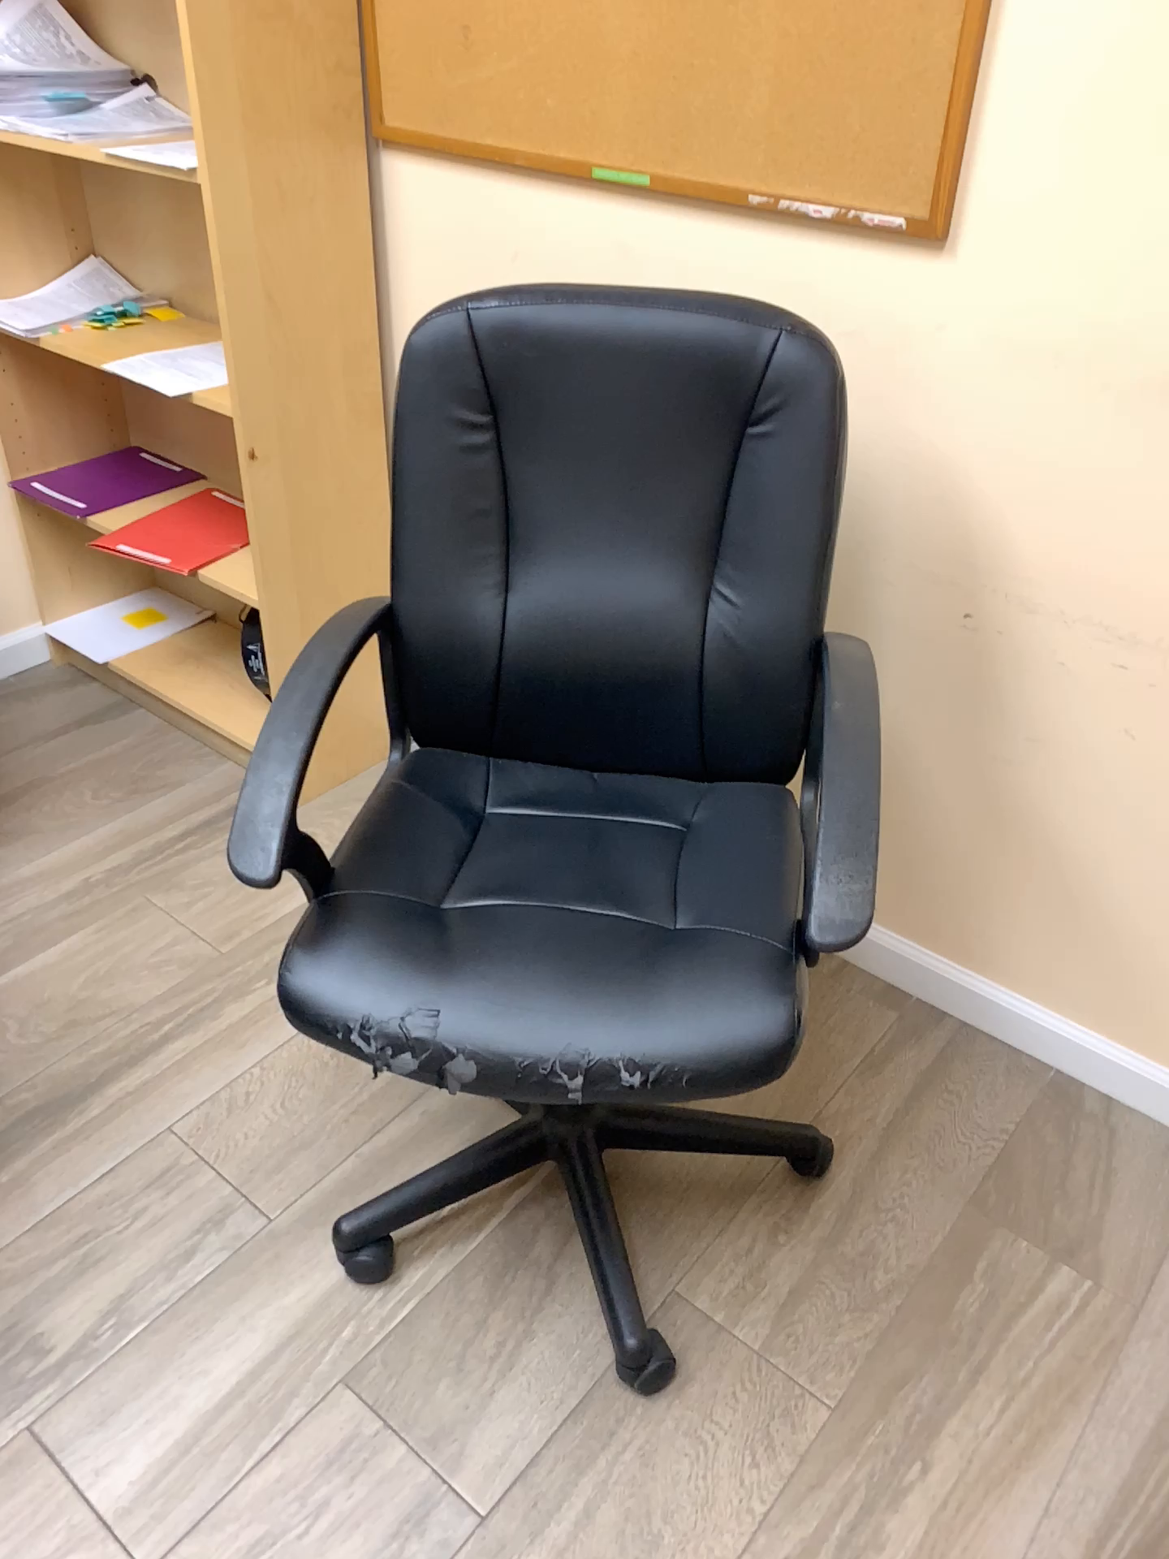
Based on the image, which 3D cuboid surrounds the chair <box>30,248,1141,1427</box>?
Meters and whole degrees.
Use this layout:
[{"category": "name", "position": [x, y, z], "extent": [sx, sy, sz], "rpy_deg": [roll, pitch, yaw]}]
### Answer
[{"category": "chair", "position": [0.009, 0.051, 1.261], "extent": [0.682, 0.987, 0.648], "rpy_deg": [6, 34, 5]}]
